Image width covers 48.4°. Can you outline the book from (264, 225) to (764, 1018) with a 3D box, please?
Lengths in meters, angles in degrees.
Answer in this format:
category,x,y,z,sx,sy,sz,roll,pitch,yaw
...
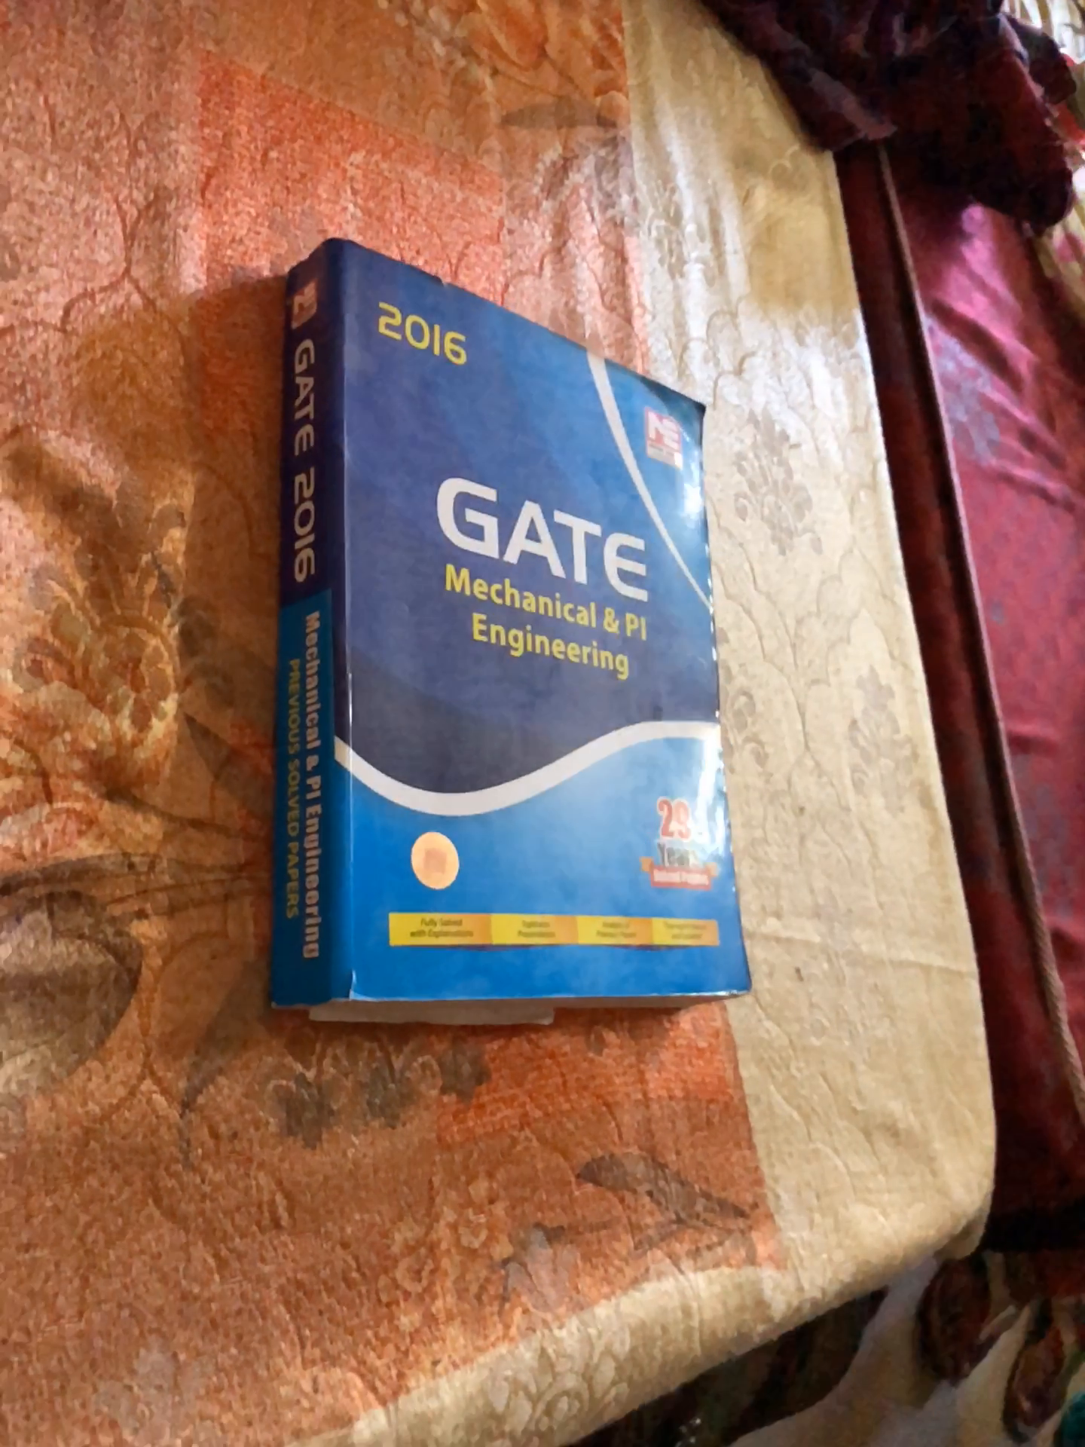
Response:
category,x,y,z,sx,sy,sz,roll,pitch,yaw
book,-0.008,-0.028,0.488,0.201,0.051,0.280,10,70,-40
